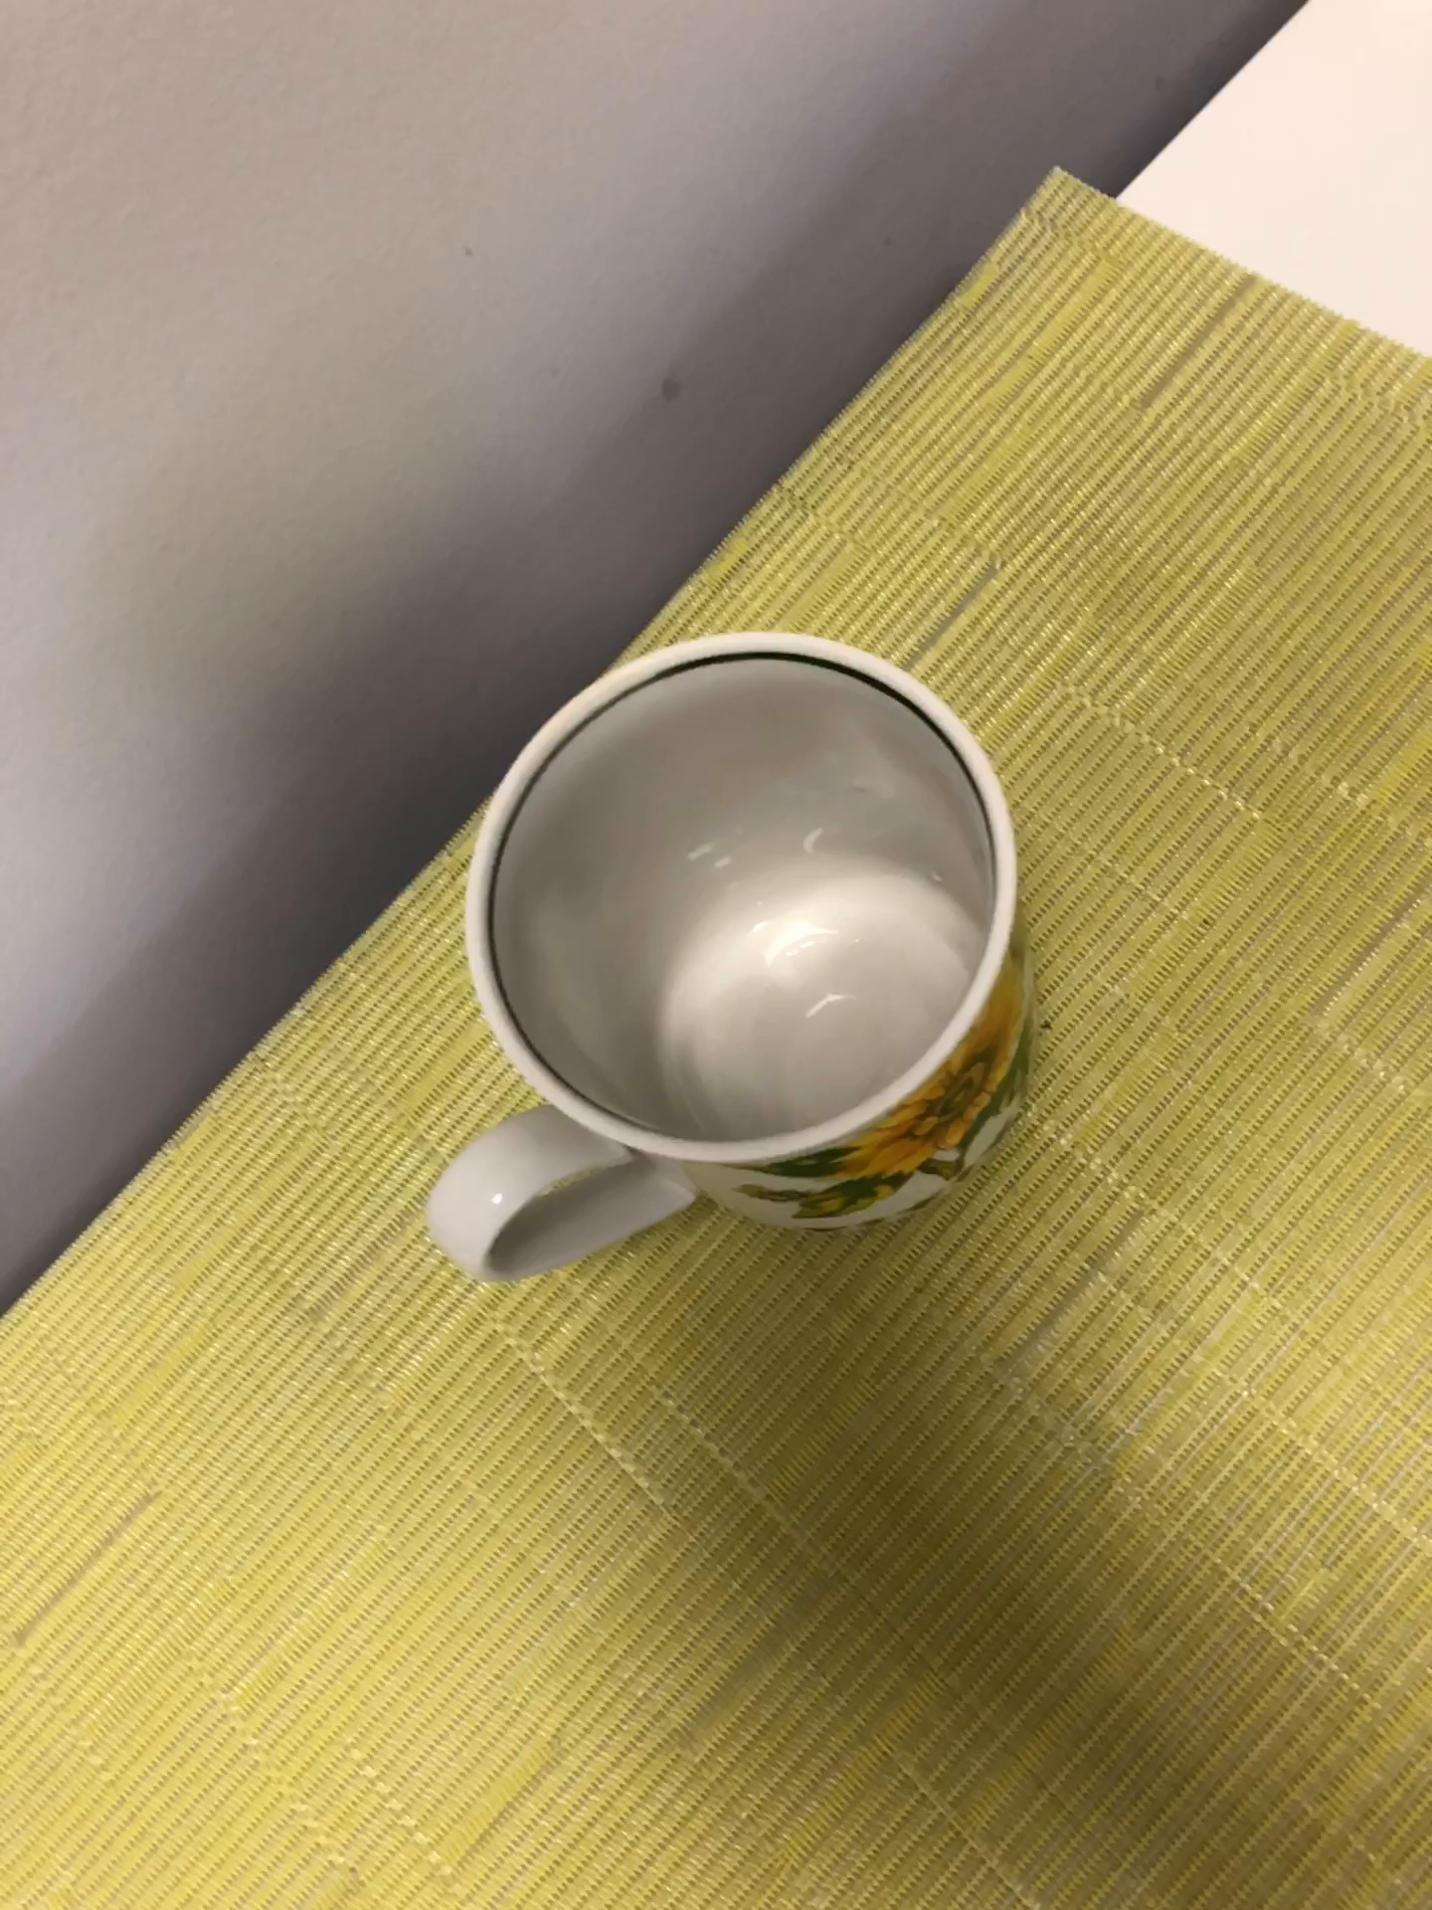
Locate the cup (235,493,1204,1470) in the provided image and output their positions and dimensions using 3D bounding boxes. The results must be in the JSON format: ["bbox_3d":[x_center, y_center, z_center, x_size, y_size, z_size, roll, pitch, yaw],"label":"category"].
[{"bbox_3d":[0.007,0.010,0.268,0.116,0.084,0.088,-44,64,-2],"label":"cup"}]
